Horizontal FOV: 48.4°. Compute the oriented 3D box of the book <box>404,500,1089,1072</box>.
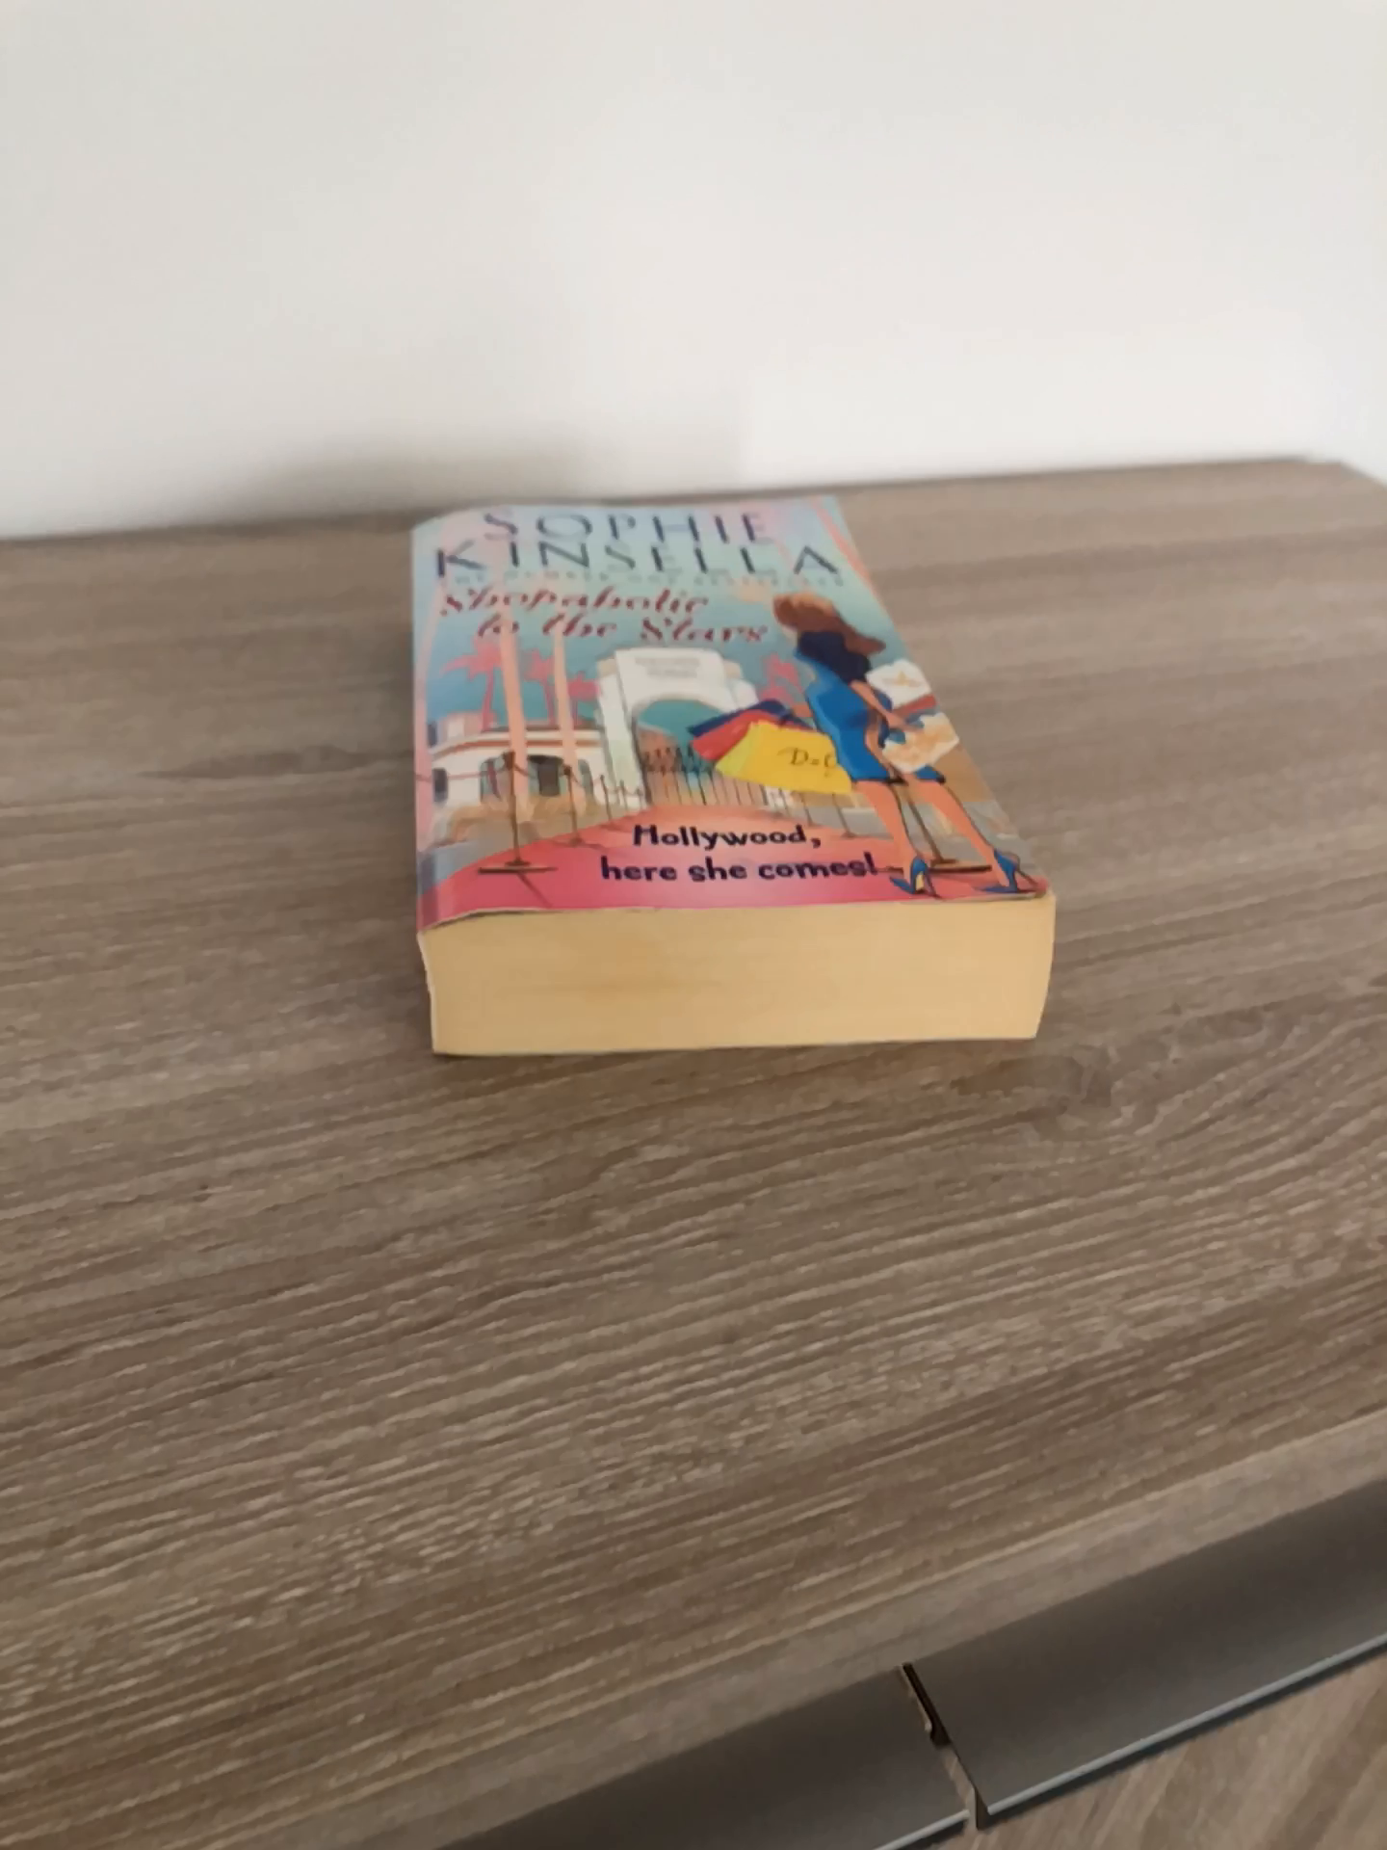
[{"bbox_3d":[-0.004,-0.048,0.379,0.130,0.040,0.201,-1,36,-10],"label":"book"}]
